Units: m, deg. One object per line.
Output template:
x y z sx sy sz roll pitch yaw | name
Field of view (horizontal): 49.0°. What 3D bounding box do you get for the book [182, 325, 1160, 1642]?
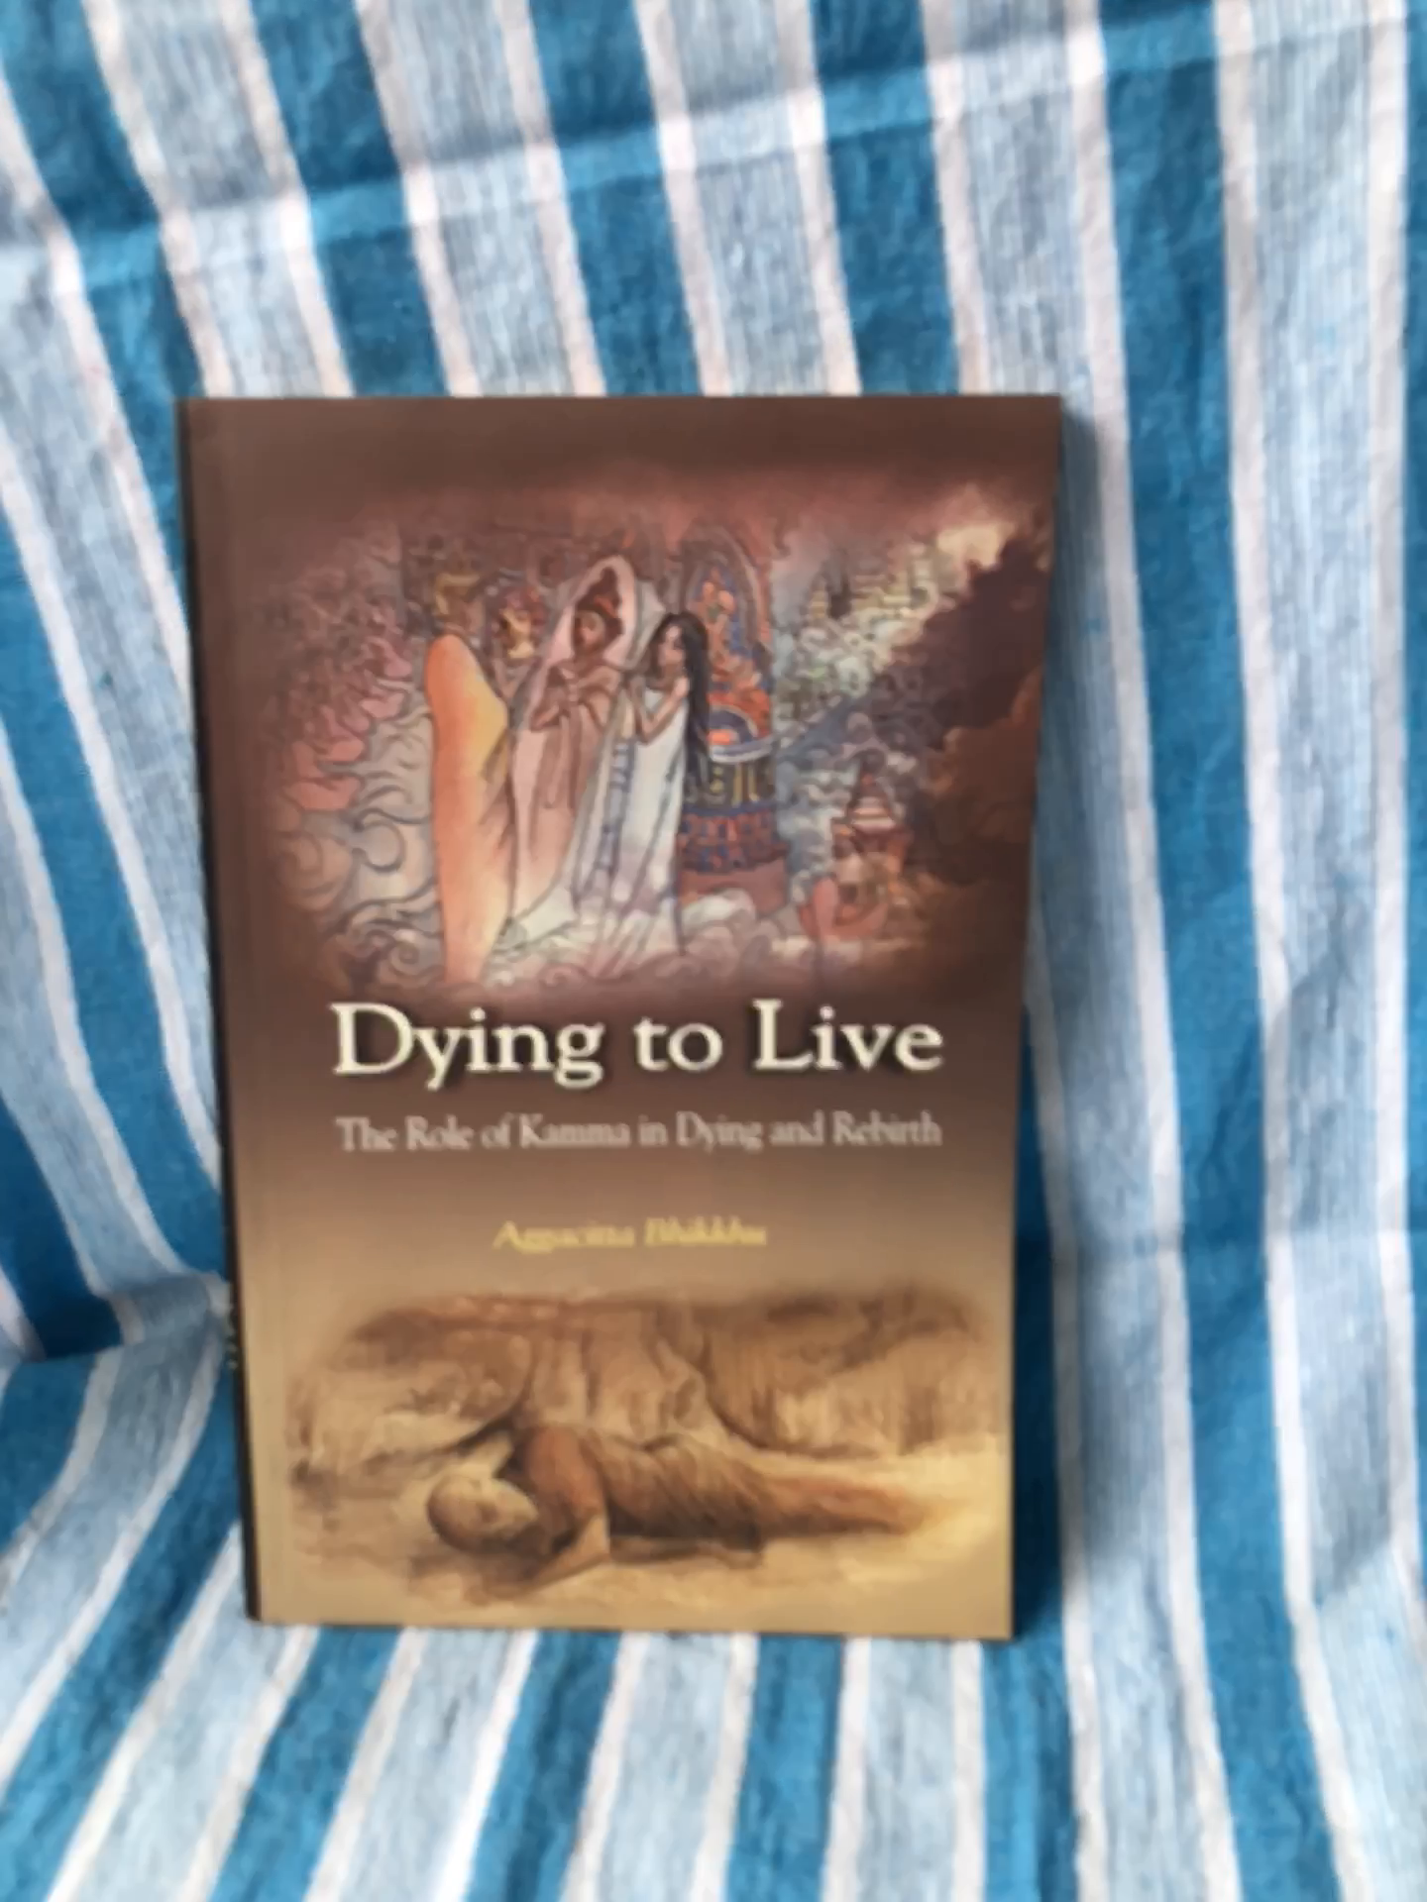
-0.010 0.010 0.263 0.150 0.210 0.020 2 7 -1 | book
